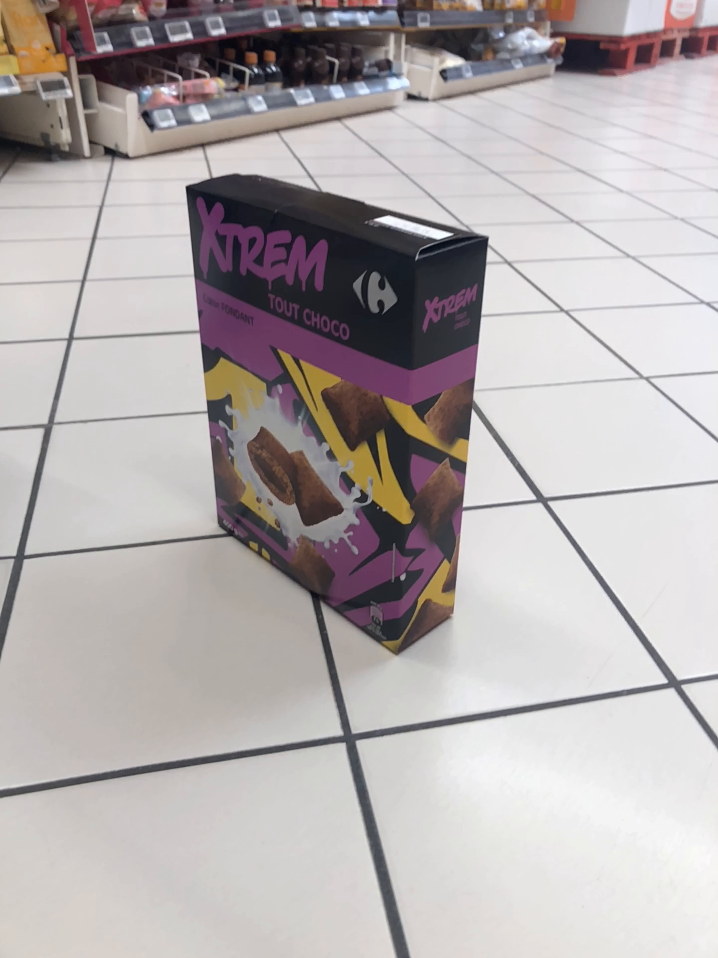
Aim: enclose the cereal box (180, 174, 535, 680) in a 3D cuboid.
[{"bbox_3d":[-0.013,-0.038,0.478,0.070,0.238,0.200,-25,40,-36],"label":"cereal box"}]
